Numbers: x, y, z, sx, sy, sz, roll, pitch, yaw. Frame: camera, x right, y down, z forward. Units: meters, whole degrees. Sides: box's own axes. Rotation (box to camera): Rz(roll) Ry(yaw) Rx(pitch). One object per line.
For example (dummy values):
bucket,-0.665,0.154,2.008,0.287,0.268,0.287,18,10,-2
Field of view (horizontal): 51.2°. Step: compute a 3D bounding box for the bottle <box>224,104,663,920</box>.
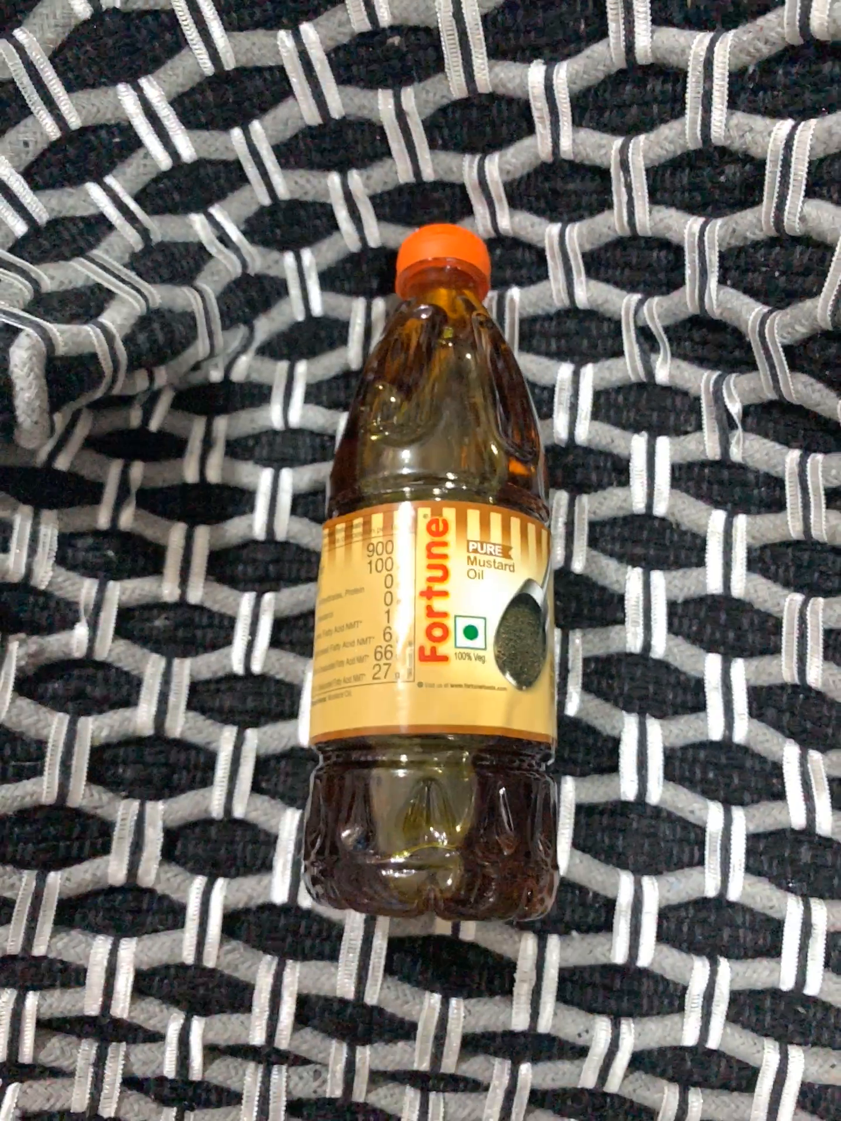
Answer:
bottle,0.007,-0.010,0.268,0.080,0.080,0.220,-22,58,44
